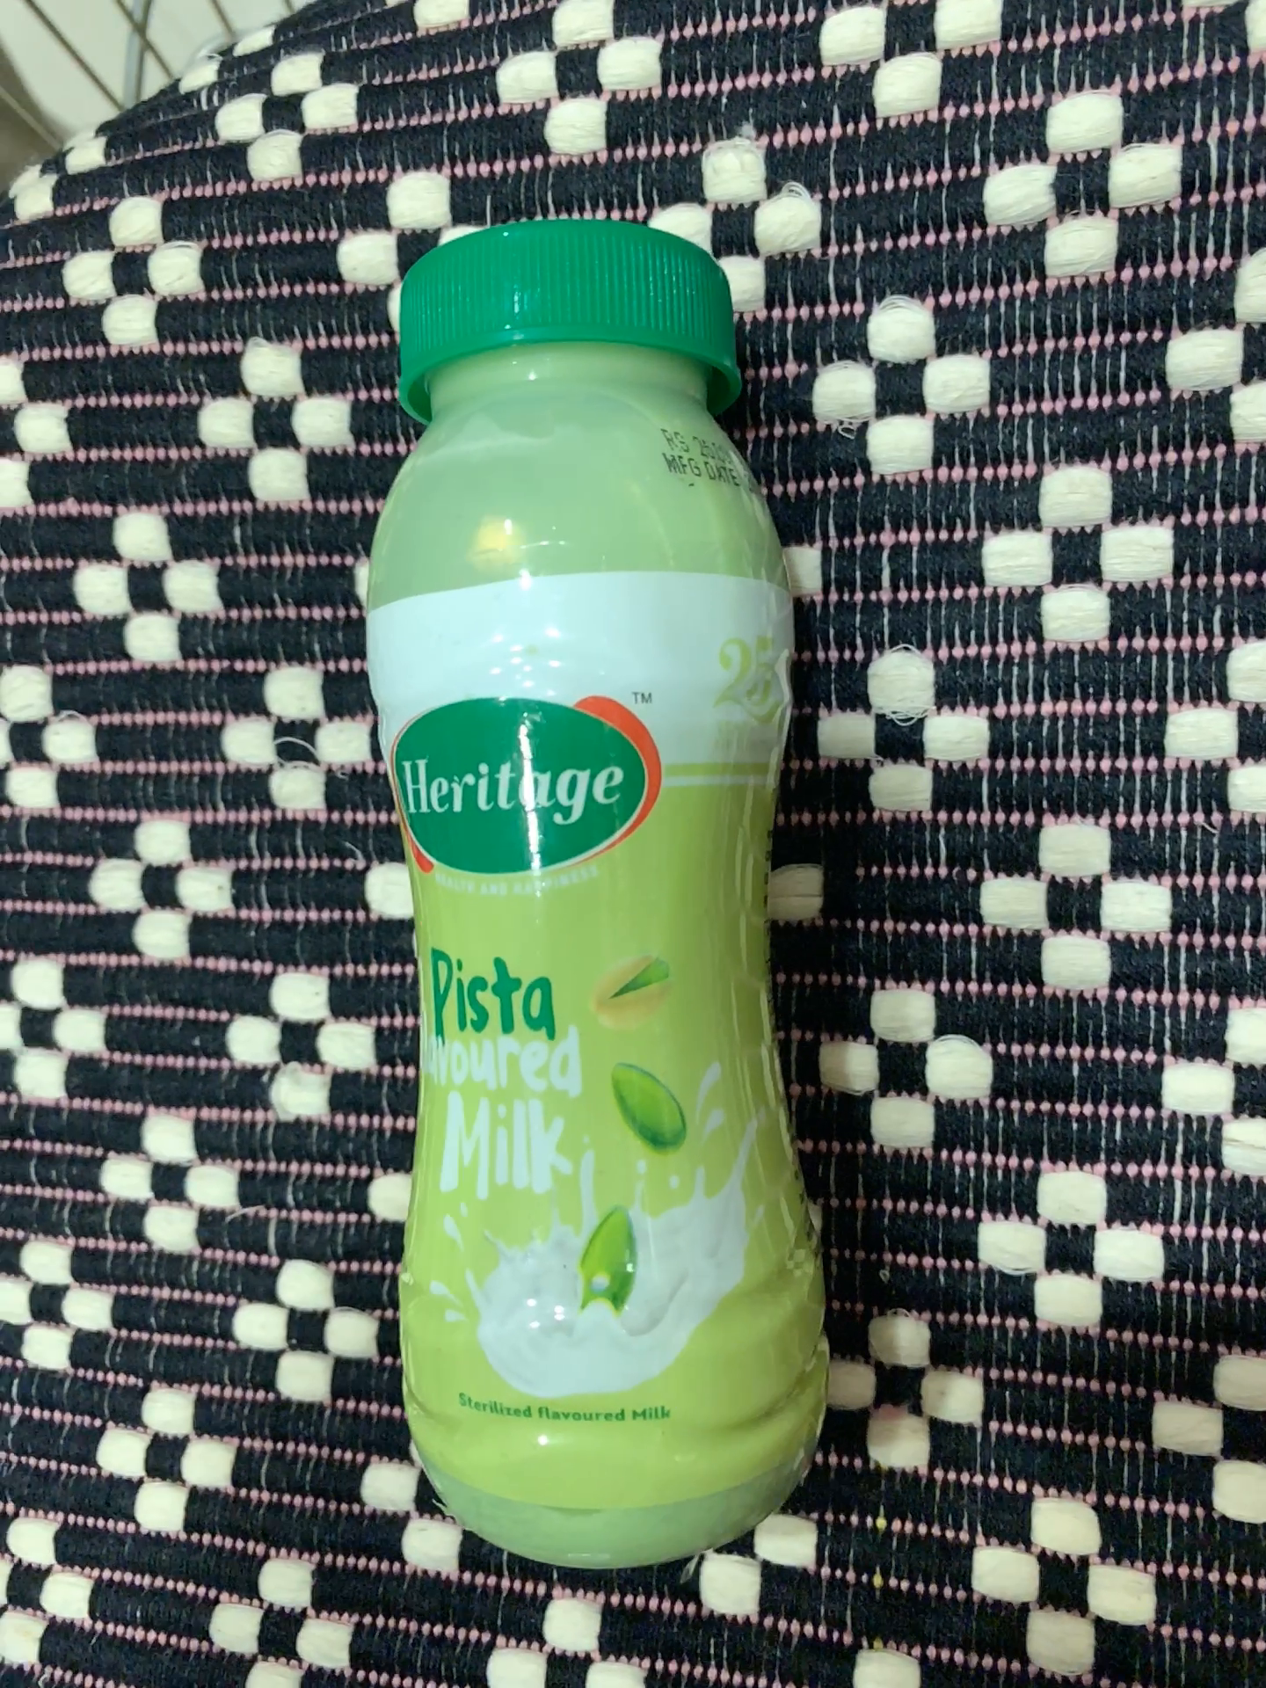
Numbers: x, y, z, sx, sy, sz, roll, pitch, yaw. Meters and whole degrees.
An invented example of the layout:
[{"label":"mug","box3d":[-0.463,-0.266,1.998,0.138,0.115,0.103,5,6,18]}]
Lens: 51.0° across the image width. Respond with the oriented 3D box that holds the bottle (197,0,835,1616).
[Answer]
[{"label":"bottle","box3d":[-0.009,-0.007,0.146,0.050,0.050,0.150,-3,88,14]}]
